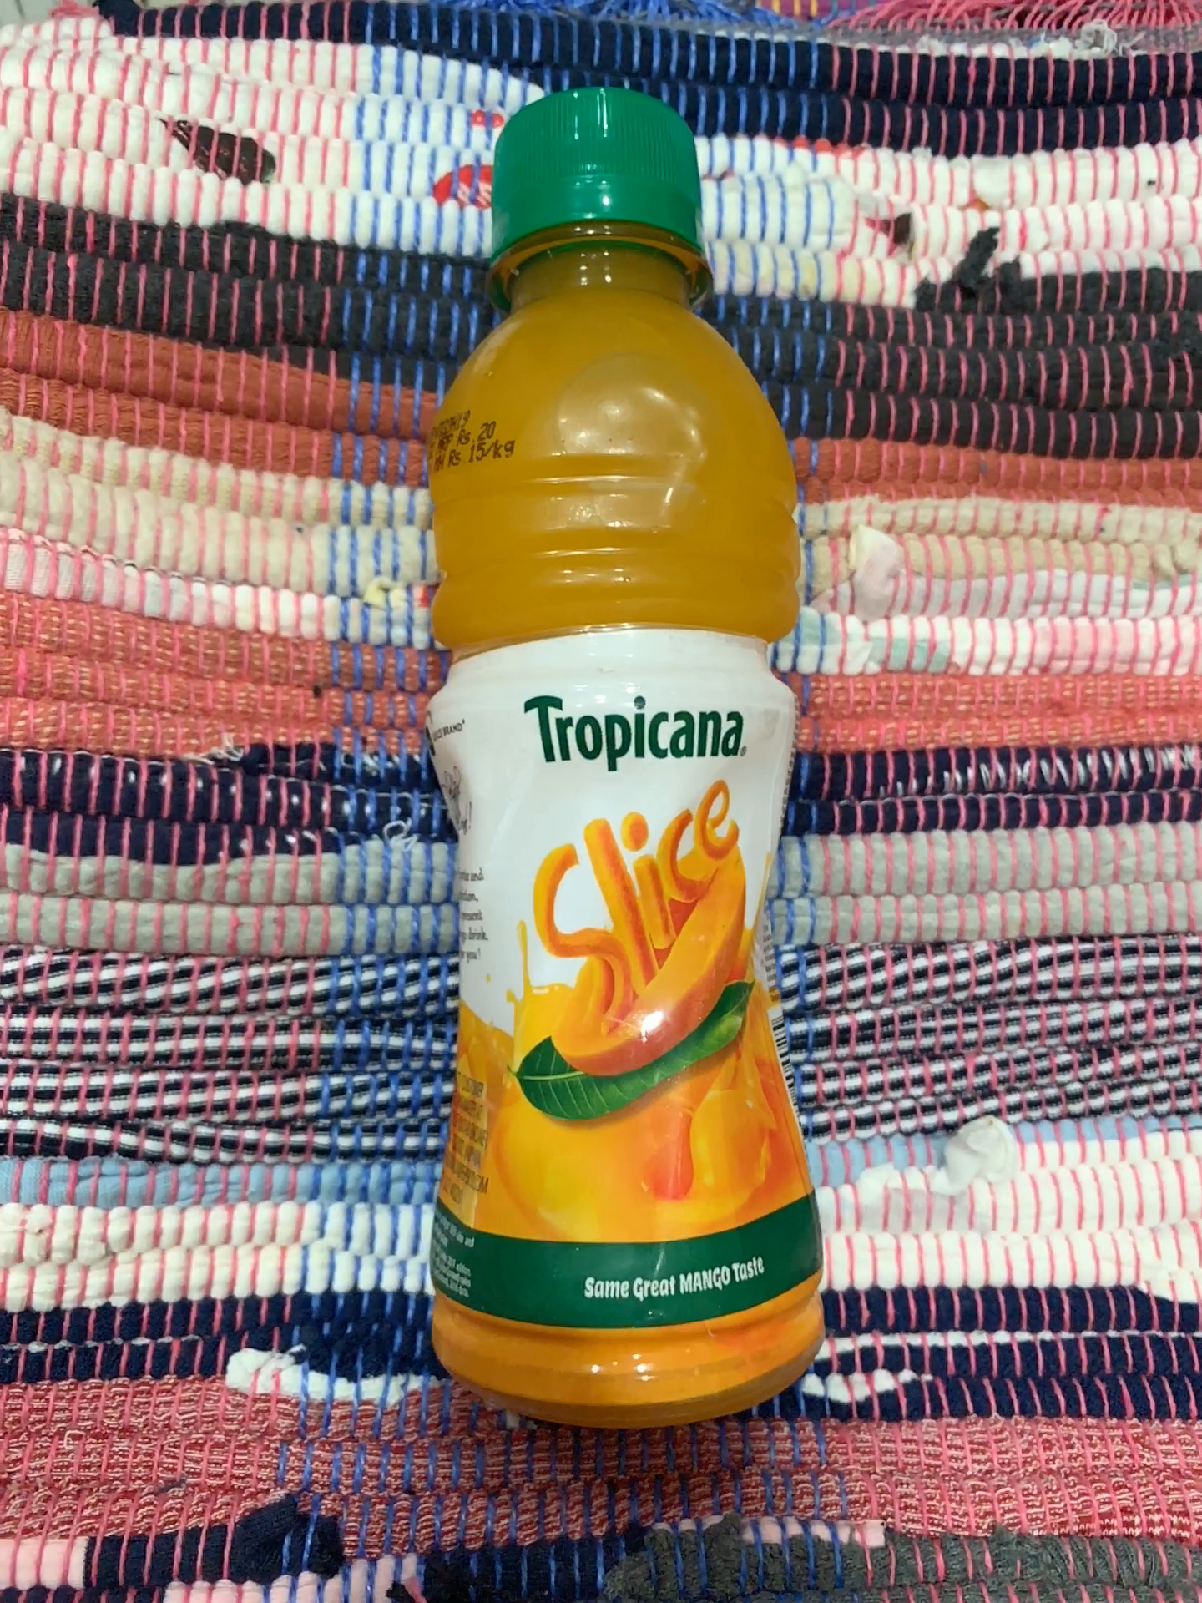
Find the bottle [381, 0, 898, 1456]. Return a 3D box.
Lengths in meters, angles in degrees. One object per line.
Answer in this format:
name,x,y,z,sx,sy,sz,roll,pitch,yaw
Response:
bottle,0.000,-0.019,0.181,0.060,0.050,0.190,0,83,-10
